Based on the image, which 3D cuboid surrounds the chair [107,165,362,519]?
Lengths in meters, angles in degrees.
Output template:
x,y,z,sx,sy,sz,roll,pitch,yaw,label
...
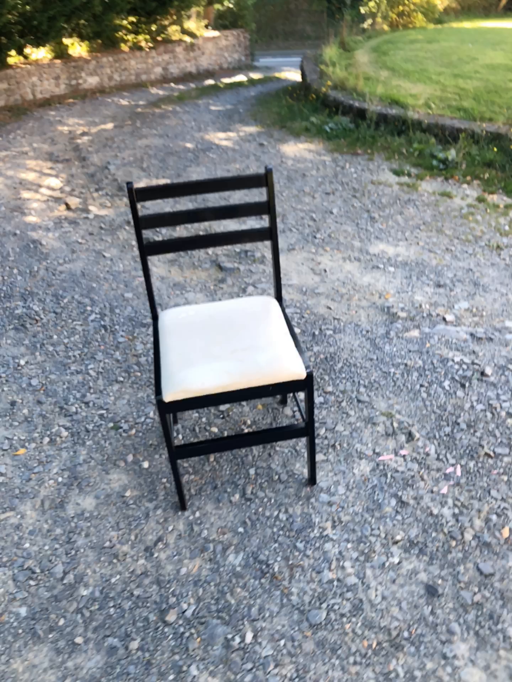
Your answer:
x,y,z,sx,sy,sz,roll,pitch,yaw,label
-0.079,-0.012,1.607,0.541,0.776,0.532,-9,34,-10,chair
